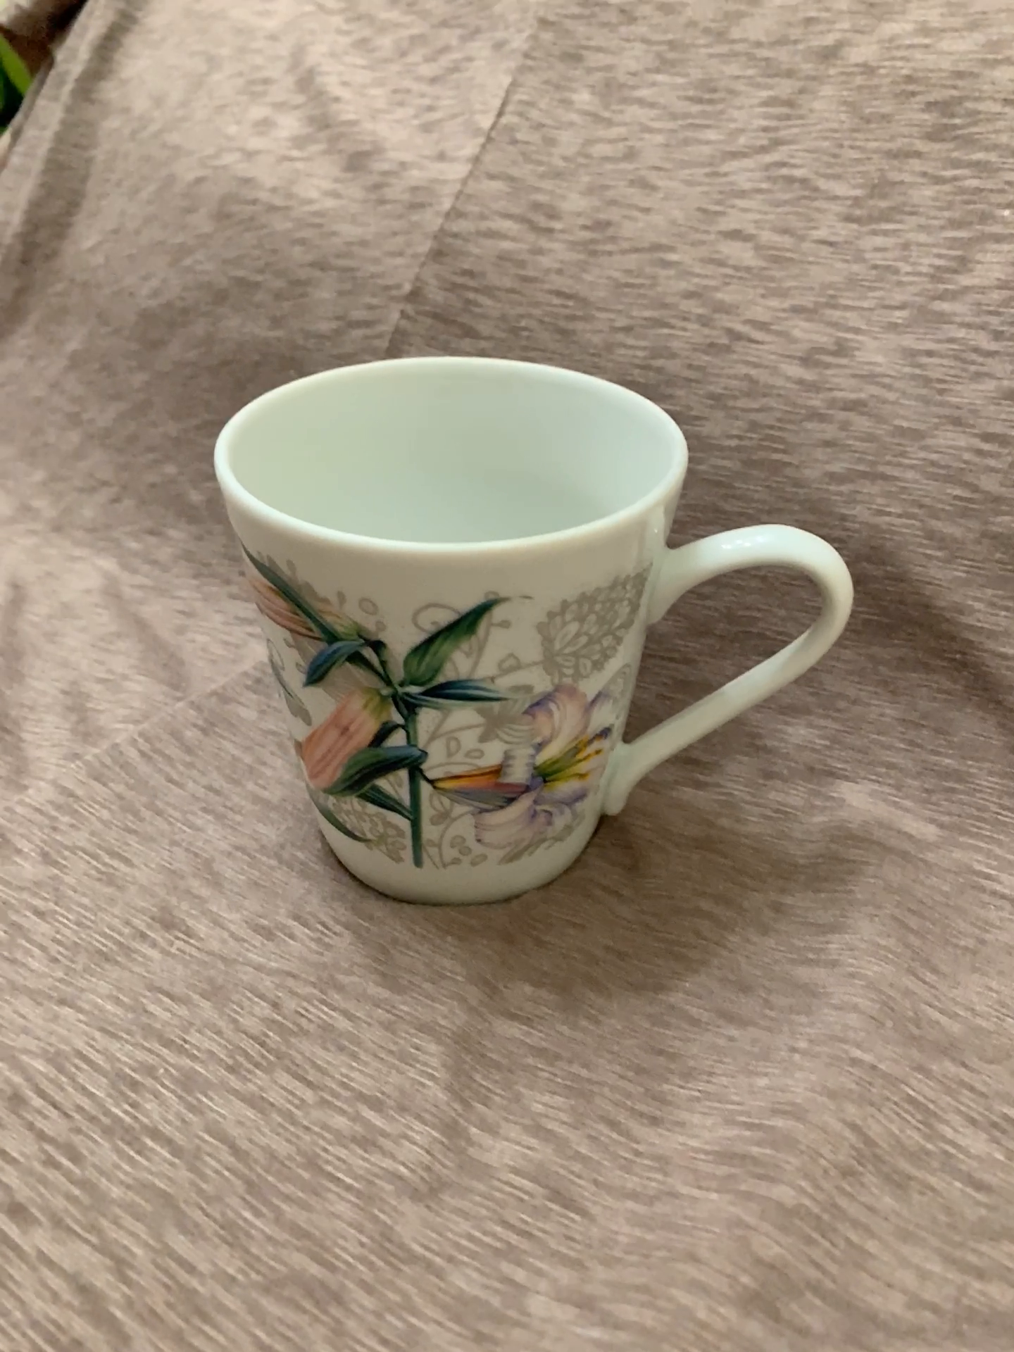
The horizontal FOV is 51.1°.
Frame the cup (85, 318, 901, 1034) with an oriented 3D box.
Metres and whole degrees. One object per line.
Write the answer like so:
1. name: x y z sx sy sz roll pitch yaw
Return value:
1. cup: 0.002 -0.010 0.211 0.119 0.088 0.085 13 37 23
